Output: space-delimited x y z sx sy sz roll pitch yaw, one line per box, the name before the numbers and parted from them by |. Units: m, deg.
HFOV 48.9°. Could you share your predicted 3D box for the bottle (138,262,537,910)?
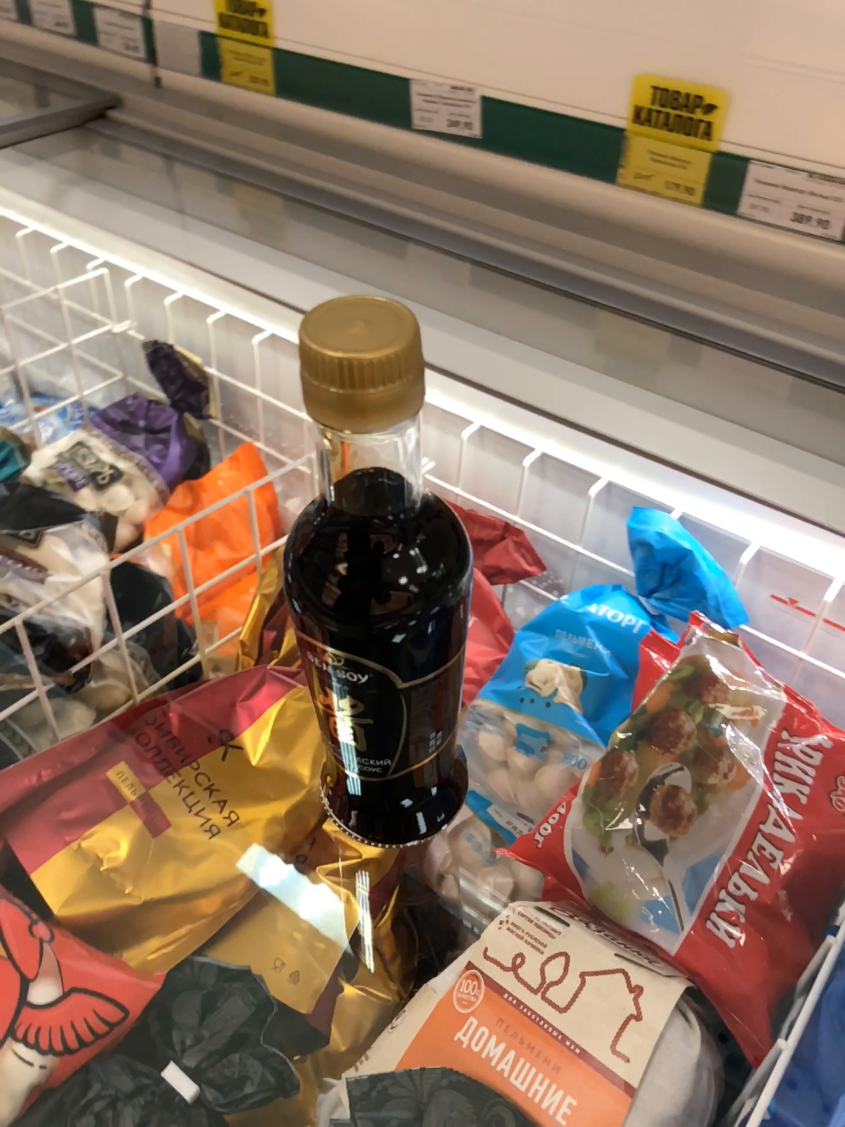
bottle | -0.023 0.015 0.284 0.070 0.179 0.070 2 41 -2
